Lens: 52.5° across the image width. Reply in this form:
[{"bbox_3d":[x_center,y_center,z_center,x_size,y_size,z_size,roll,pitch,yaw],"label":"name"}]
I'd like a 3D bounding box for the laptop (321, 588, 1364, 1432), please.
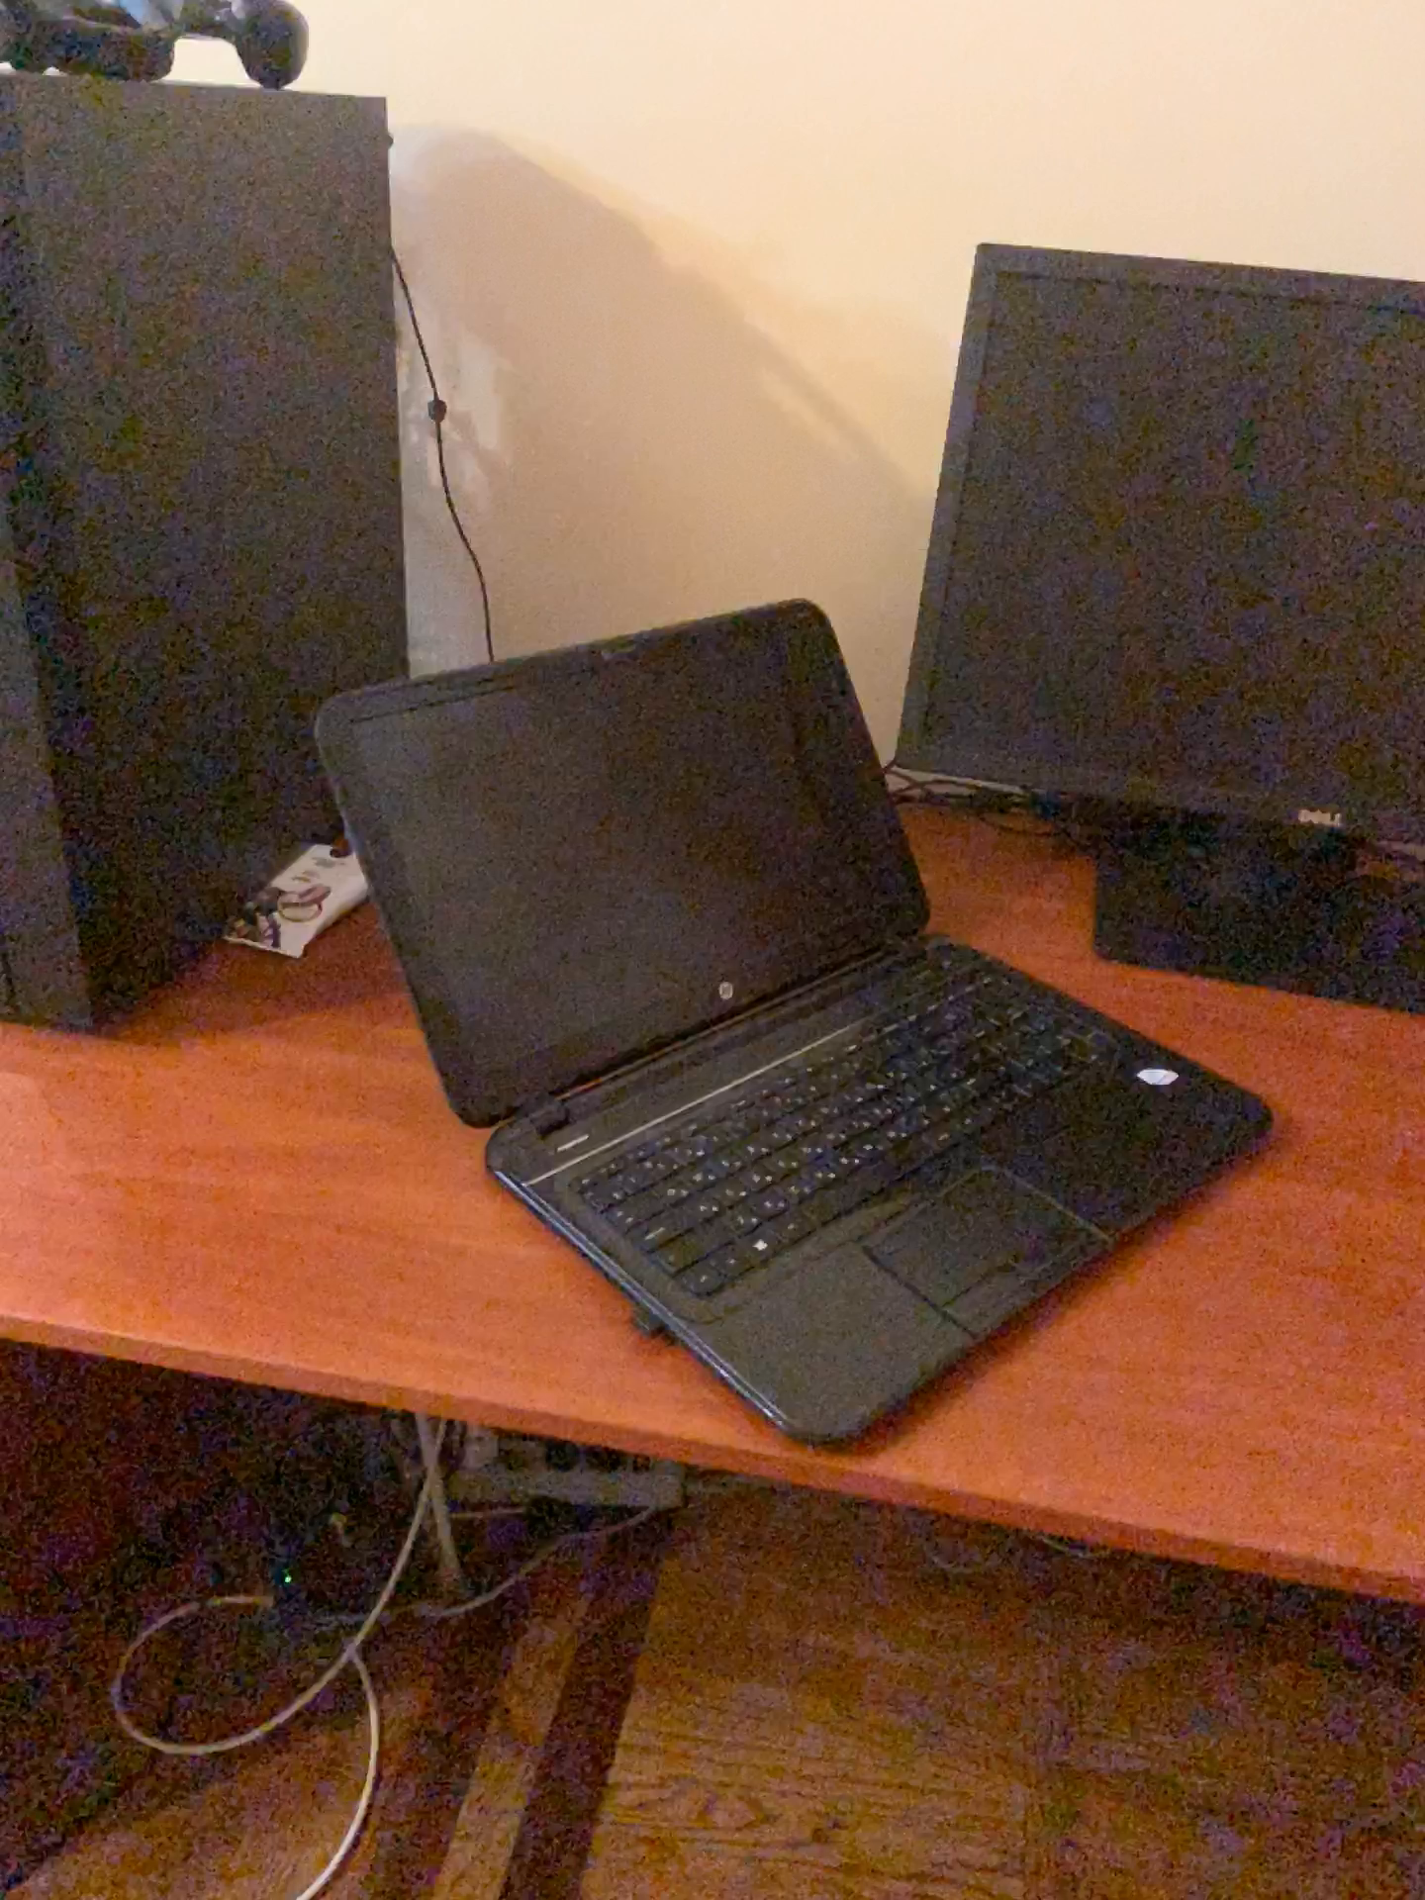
[{"bbox_3d":[0.053,-0.019,0.713,0.332,0.168,0.359,-21,40,-37],"label":"laptop"}]
